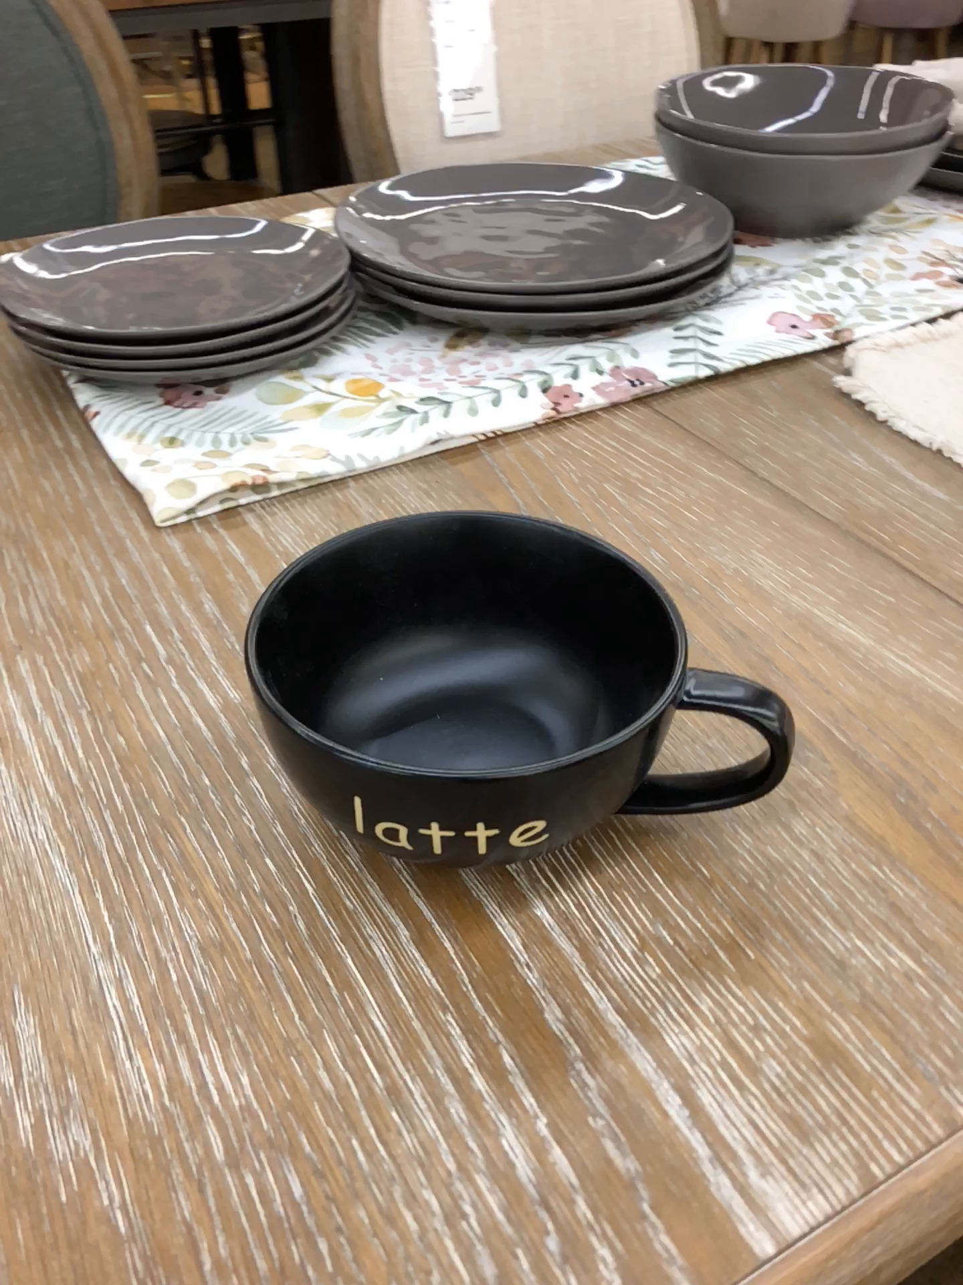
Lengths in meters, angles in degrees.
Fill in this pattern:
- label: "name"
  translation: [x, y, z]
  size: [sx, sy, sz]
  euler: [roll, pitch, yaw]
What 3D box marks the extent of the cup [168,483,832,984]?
- label: "cup"
  translation: [0.016, 0.016, 0.345]
  size: [0.175, 0.054, 0.138]
  euler: [10, 39, 14]
